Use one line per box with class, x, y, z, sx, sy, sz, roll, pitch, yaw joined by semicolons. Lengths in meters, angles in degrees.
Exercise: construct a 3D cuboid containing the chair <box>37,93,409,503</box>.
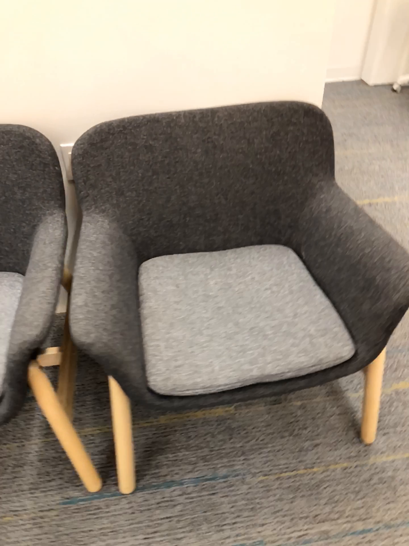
chair;0.069;0.063;1.286;0.740;0.835;0.735;-5;42;-4
